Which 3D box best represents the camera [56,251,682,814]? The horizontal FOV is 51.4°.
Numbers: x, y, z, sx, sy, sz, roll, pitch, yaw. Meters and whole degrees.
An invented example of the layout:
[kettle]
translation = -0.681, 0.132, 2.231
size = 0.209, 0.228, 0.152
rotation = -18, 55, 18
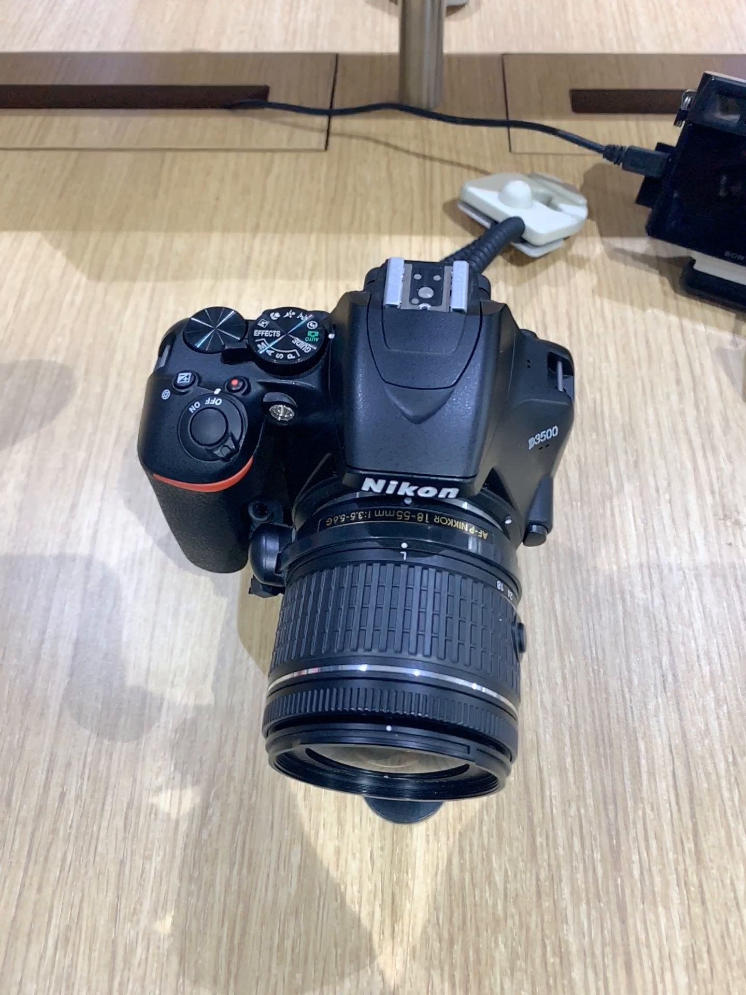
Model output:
[camera]
translation = 0.002, 0.012, 0.192
size = 0.102, 0.091, 0.104
rotation = 3, 59, 3
